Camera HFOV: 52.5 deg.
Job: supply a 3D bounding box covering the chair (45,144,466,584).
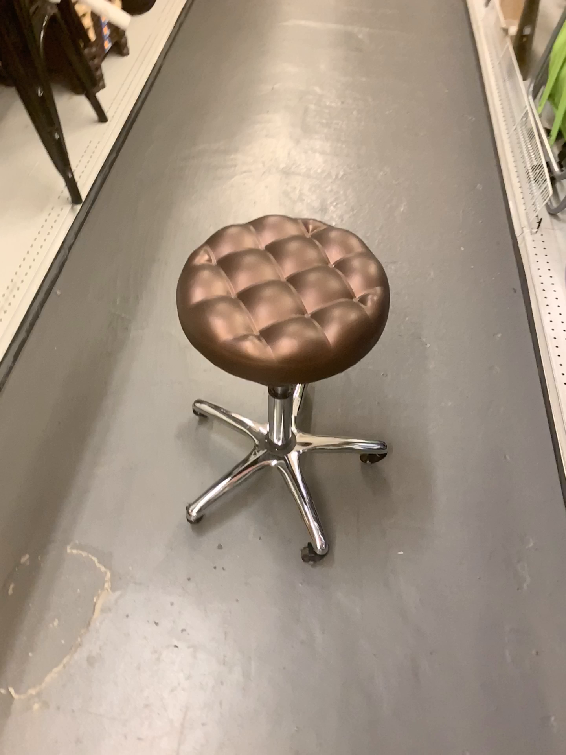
[{"bbox_3d":[-0.009,-0.002,1.057,0.501,0.575,0.513,7,53,4],"label":"chair"}]
